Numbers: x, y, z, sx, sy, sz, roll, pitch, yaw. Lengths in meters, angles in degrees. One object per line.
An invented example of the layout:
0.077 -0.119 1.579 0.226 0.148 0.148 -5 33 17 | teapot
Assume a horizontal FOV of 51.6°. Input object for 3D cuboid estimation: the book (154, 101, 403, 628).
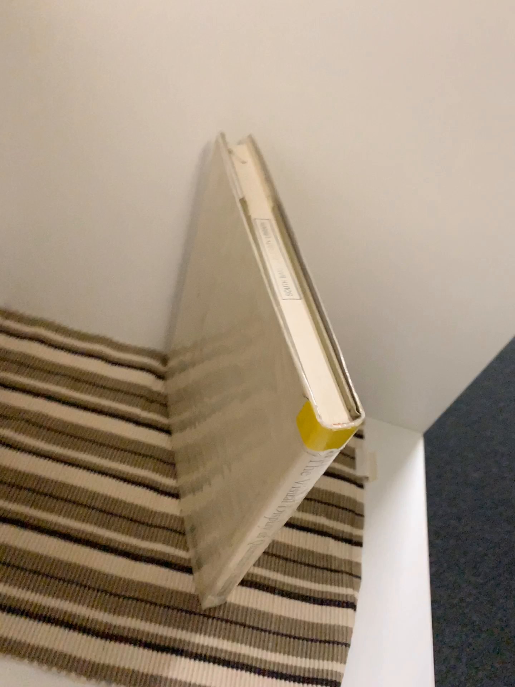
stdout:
-0.025 0.030 0.385 0.040 0.288 0.251 -2 51 -20 | book
